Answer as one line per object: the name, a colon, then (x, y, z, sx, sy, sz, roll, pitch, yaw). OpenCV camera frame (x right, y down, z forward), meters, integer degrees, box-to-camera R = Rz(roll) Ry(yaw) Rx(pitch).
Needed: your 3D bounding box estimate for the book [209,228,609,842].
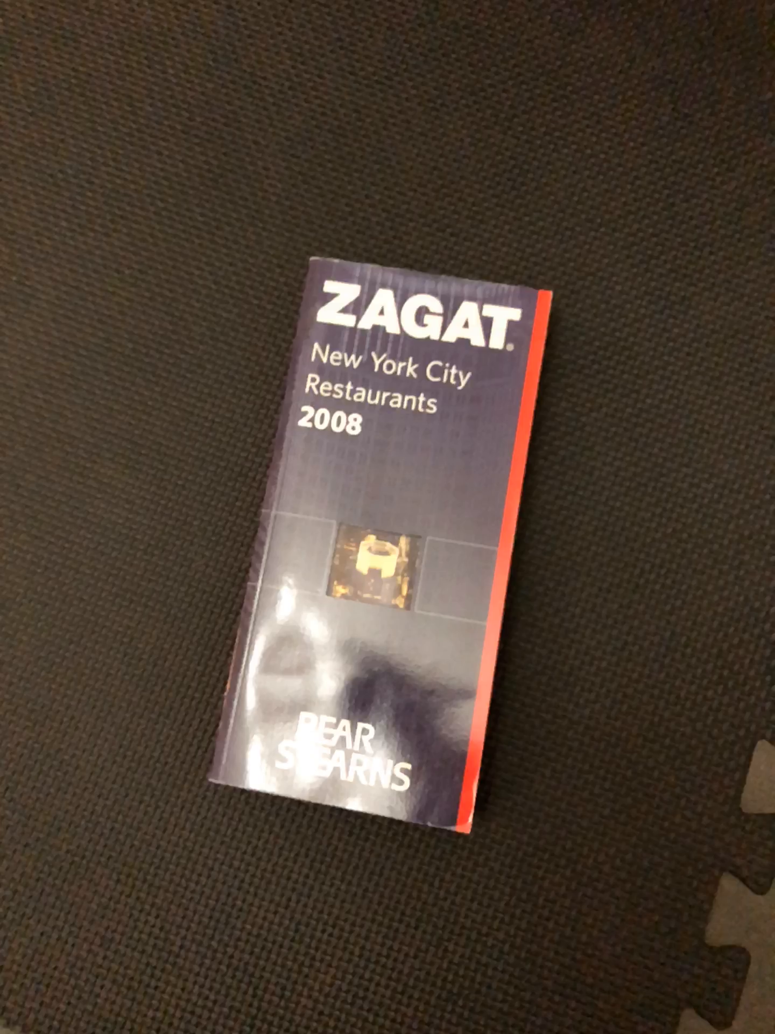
book: (0.011, 0.003, 0.345, 0.120, 0.030, 0.220, 9, 82, 2)
